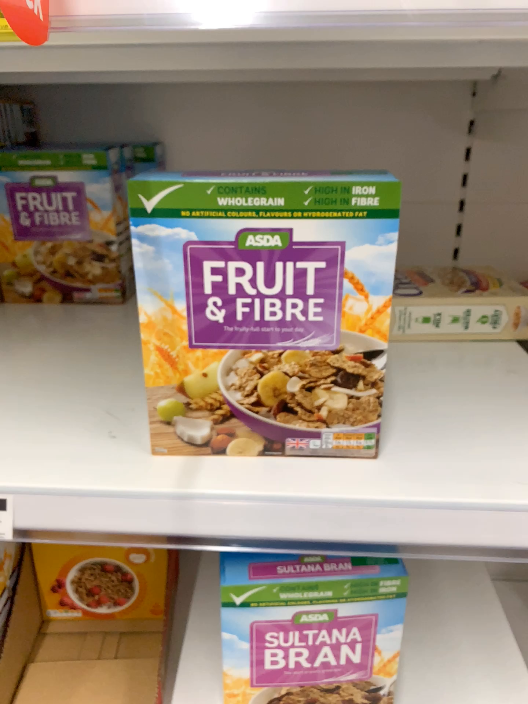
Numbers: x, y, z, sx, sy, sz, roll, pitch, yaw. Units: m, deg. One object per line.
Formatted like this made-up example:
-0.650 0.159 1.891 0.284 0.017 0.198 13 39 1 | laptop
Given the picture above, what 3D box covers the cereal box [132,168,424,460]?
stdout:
0.012 -0.034 0.518 0.230 0.258 0.081 1 22 3 | cereal box
